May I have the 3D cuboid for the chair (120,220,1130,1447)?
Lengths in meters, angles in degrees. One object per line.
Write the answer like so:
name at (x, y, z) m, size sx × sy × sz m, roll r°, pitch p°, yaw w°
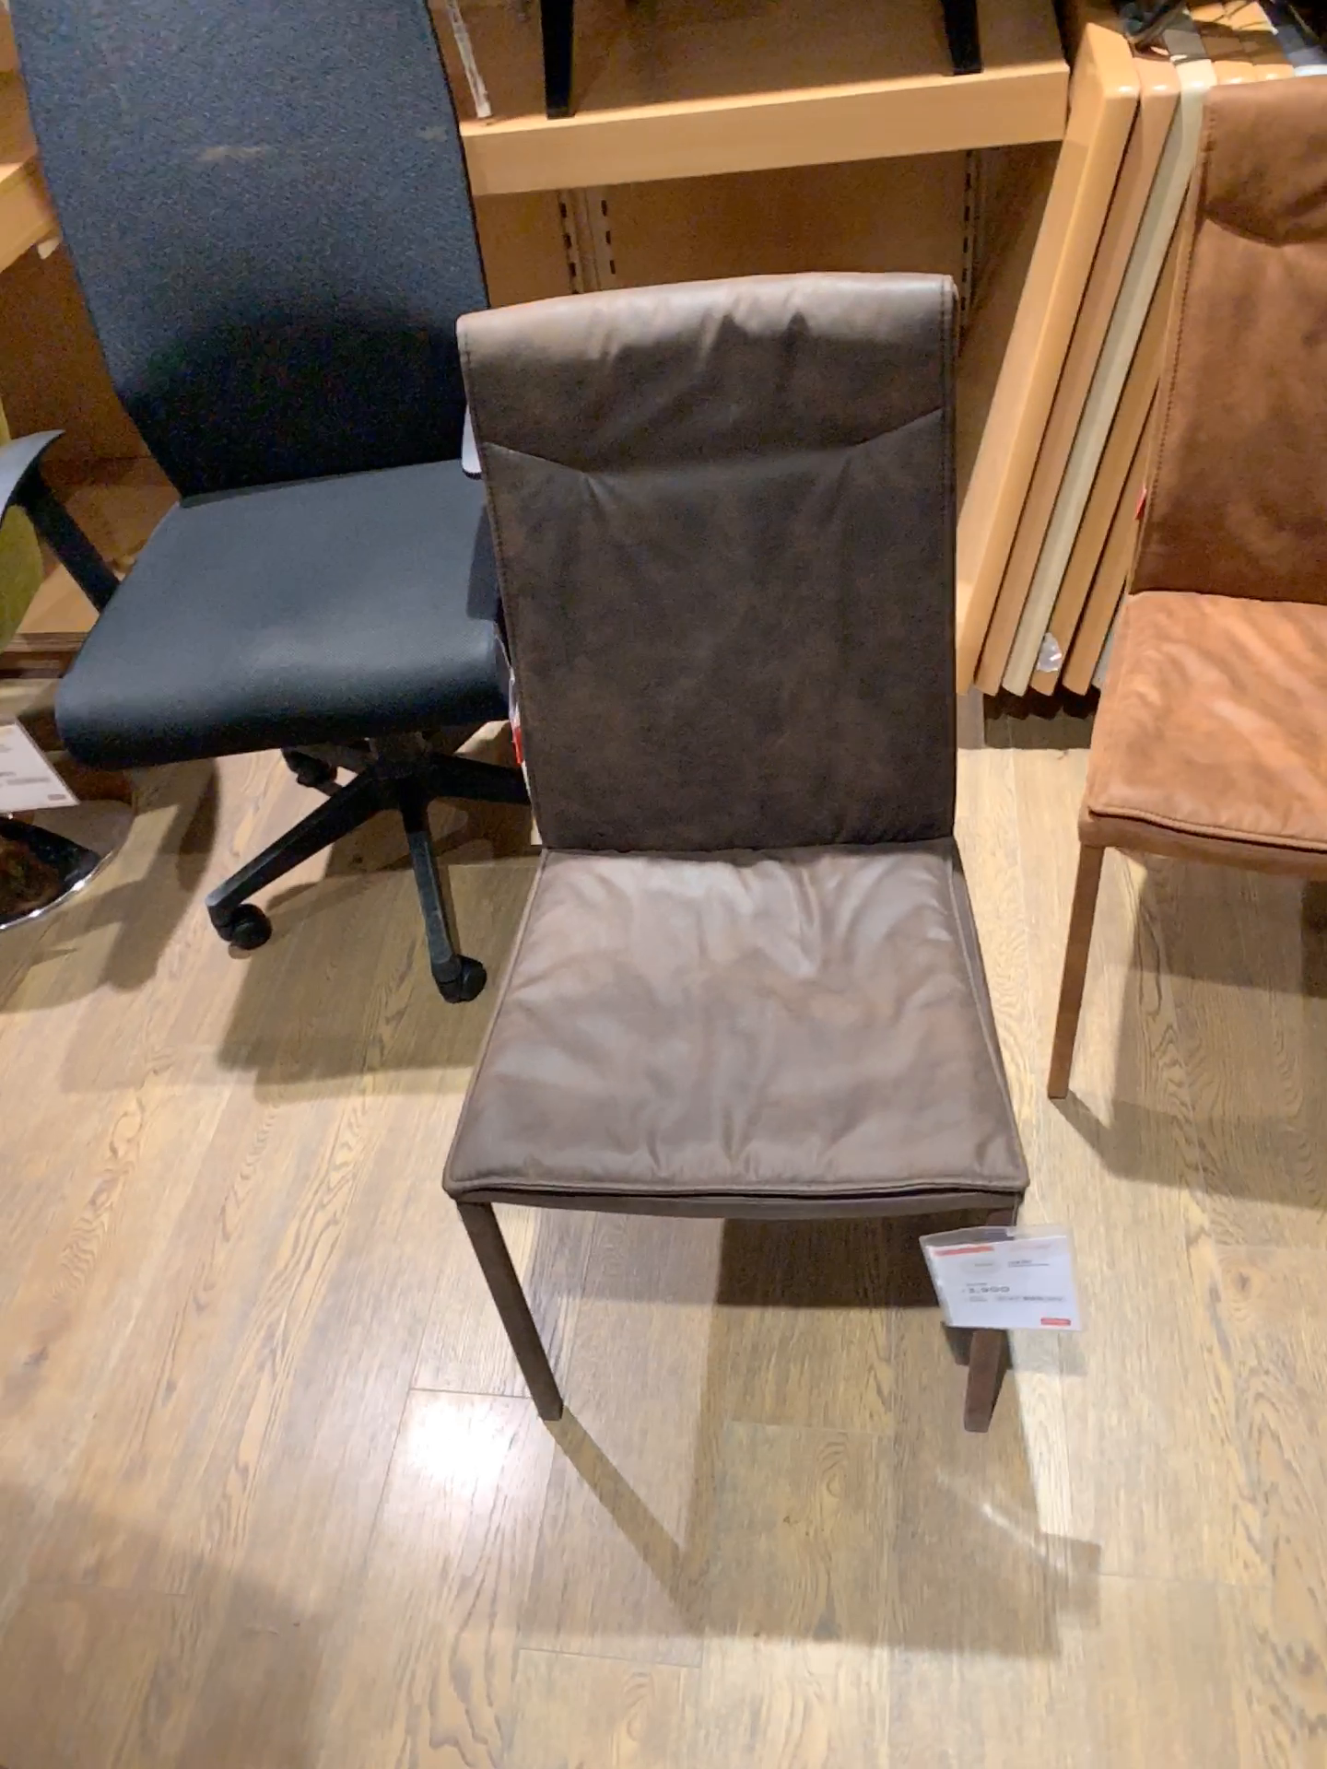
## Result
chair at (0.044, 0.023, 1.157) m, size 0.500 × 0.907 × 0.522 m, roll -1°, pitch 45°, yaw 9°
